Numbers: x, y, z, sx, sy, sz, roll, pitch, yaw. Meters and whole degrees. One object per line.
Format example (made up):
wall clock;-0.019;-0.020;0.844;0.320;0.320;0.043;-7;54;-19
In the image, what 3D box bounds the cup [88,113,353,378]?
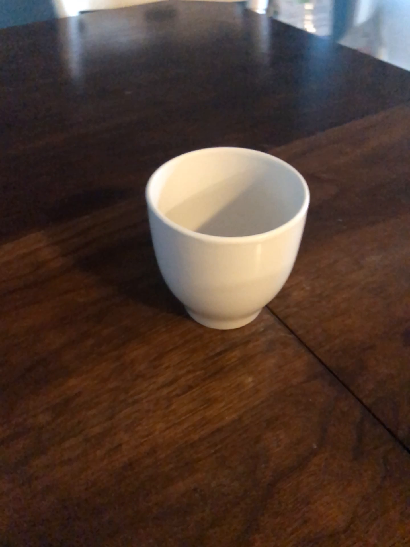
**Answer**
cup;0.004;-0.030;0.339;0.110;0.100;0.150;-25;49;-23
